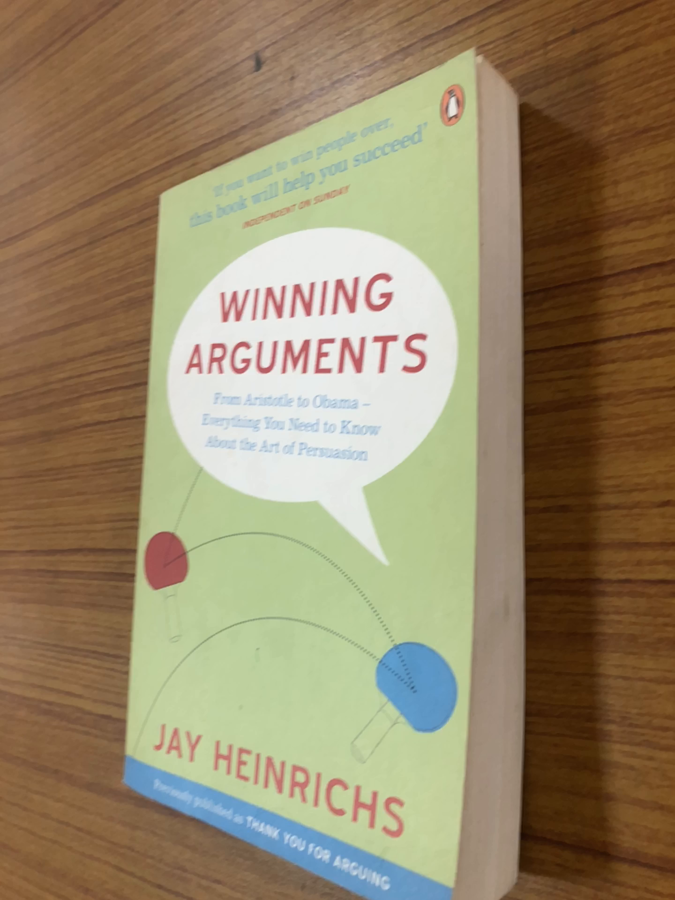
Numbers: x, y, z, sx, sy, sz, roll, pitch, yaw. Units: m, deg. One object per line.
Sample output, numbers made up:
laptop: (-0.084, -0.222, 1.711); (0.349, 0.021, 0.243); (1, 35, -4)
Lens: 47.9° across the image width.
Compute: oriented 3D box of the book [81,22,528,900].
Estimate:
book: (-0.016, 0.008, 0.224); (0.141, 0.030, 0.210); (-4, 82, 40)
